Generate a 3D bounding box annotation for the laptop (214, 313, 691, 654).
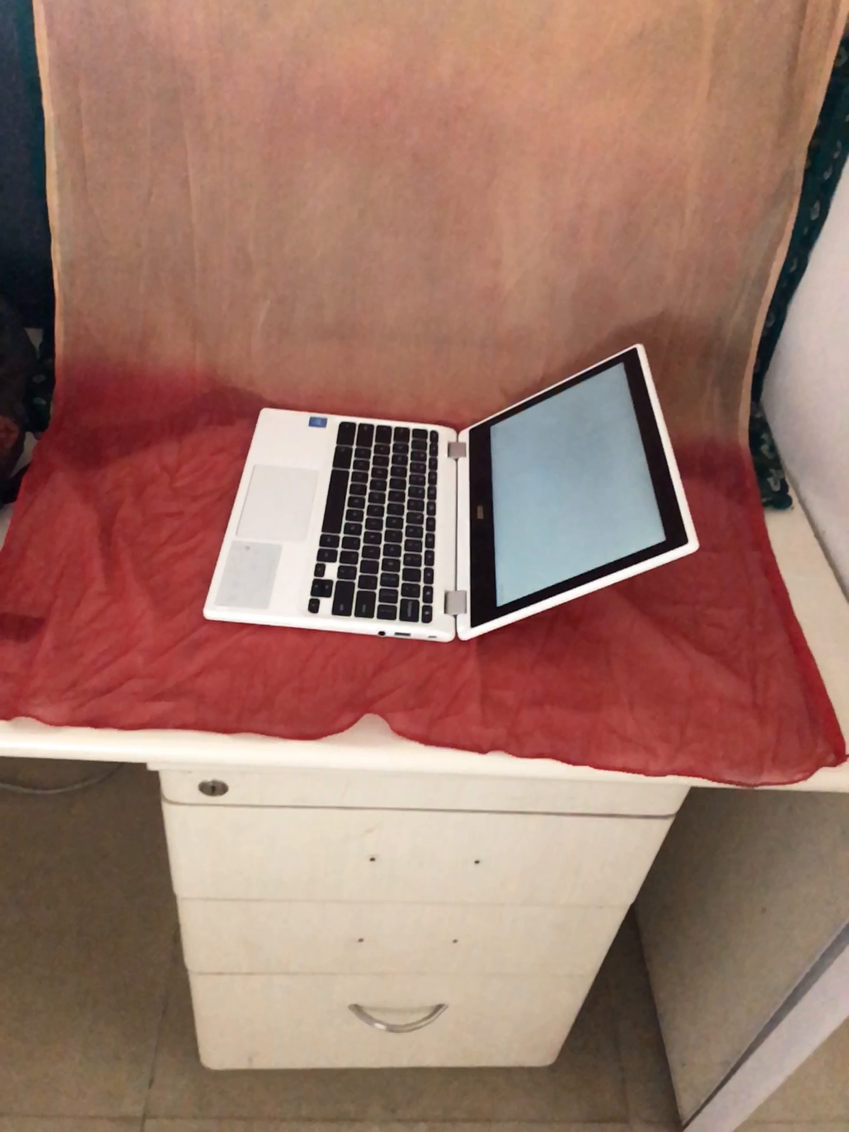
[{"bbox_3d":[0.019,-0.080,0.790,0.337,0.113,0.264,6,42,-2],"label":"laptop"}]
